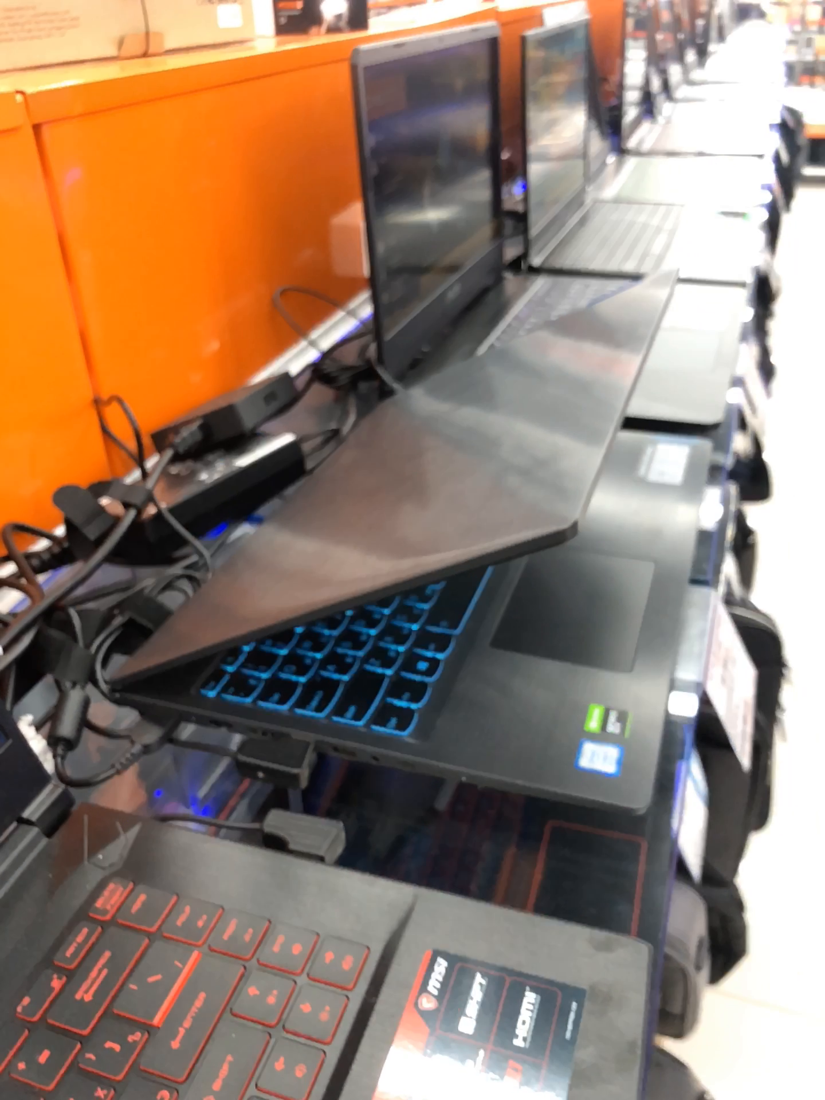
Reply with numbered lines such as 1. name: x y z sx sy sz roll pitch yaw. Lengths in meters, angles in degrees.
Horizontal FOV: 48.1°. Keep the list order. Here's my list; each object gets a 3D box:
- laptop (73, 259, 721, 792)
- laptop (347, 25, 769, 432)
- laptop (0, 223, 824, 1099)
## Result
1. laptop: 0.031 -0.056 0.522 0.240 0.118 0.349 8 33 17
2. laptop: 0.149 -0.312 0.817 0.277 0.251 0.385 9 32 18
3. laptop: -0.132 0.098 0.141 0.325 0.228 0.350 7 30 16
